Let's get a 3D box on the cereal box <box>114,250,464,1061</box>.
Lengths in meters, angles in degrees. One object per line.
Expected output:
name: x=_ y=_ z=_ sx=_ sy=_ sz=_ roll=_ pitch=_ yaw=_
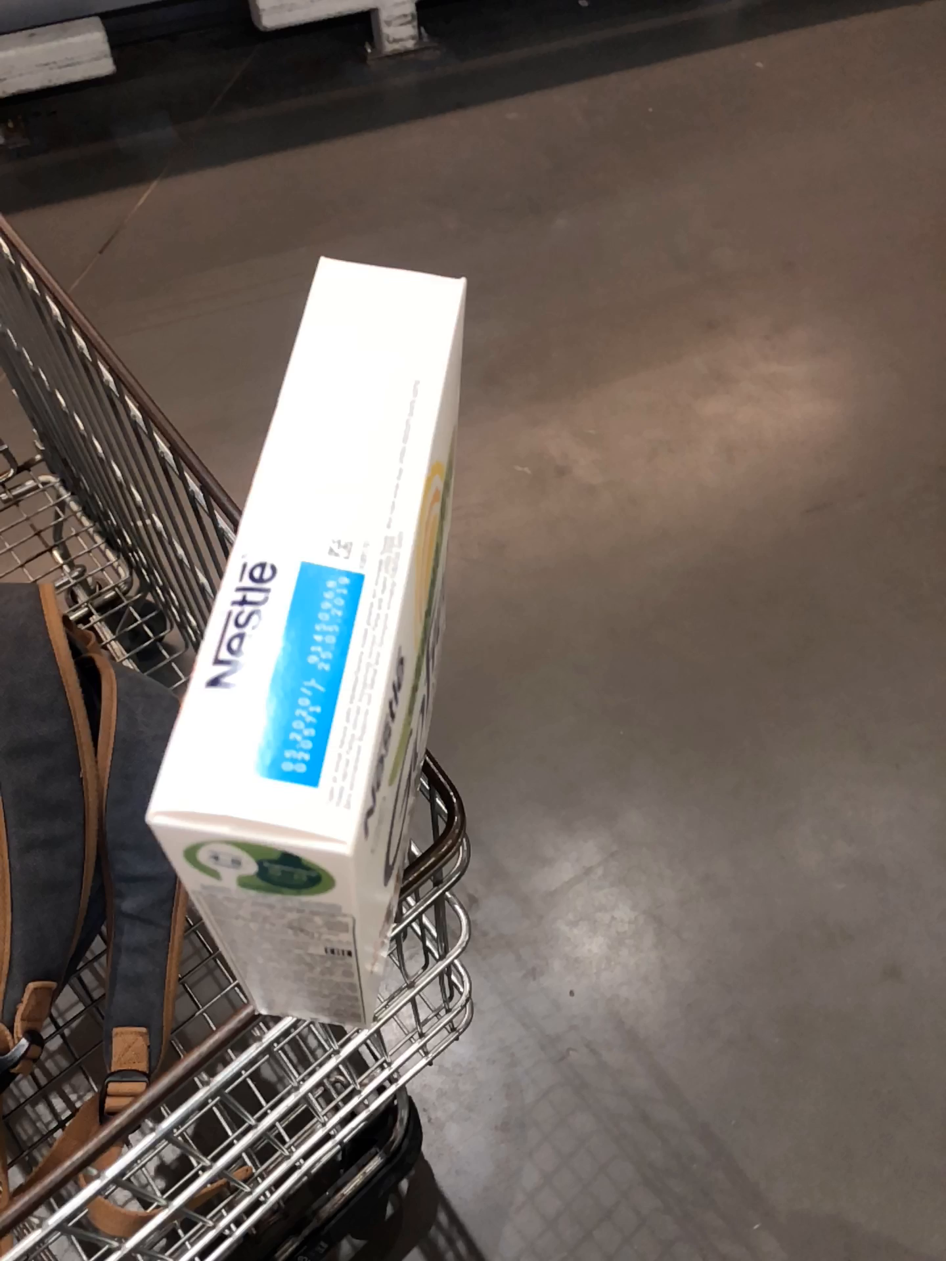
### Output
cereal box: x=-0.046 y=0.026 z=0.375 sx=0.050 sy=0.229 sz=0.201 roll=8 pitch=58 yaw=1
